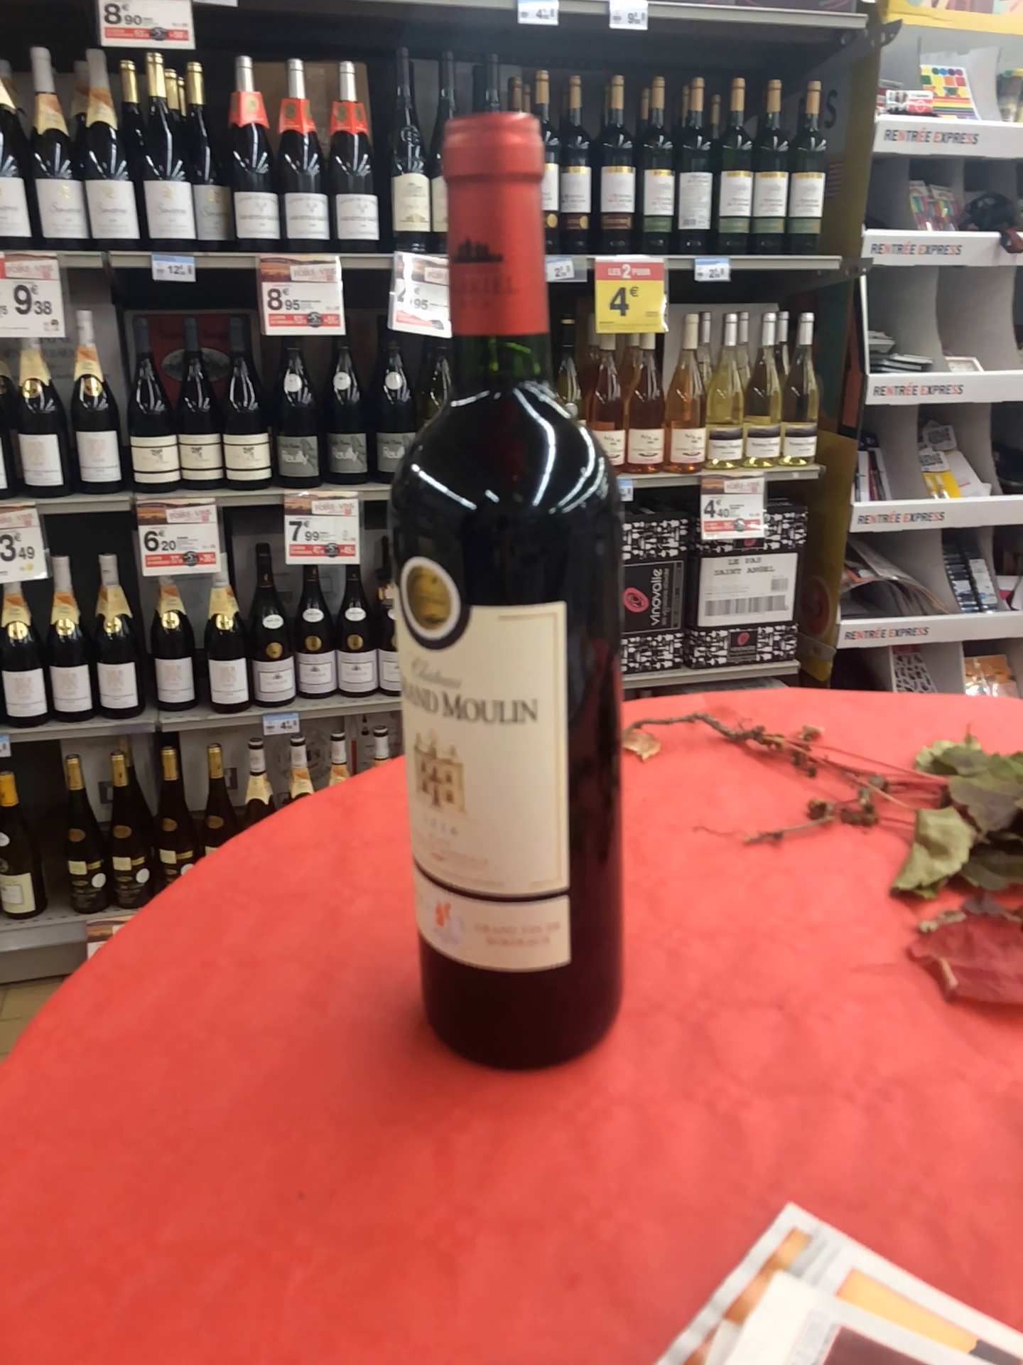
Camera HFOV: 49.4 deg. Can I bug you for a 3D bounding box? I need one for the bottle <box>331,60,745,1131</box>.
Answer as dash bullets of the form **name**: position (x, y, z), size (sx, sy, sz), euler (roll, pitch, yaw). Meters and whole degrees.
- **bottle**: position (0.007, -0.019, 0.354), size (0.080, 0.299, 0.080), euler (0, 20, 0)
